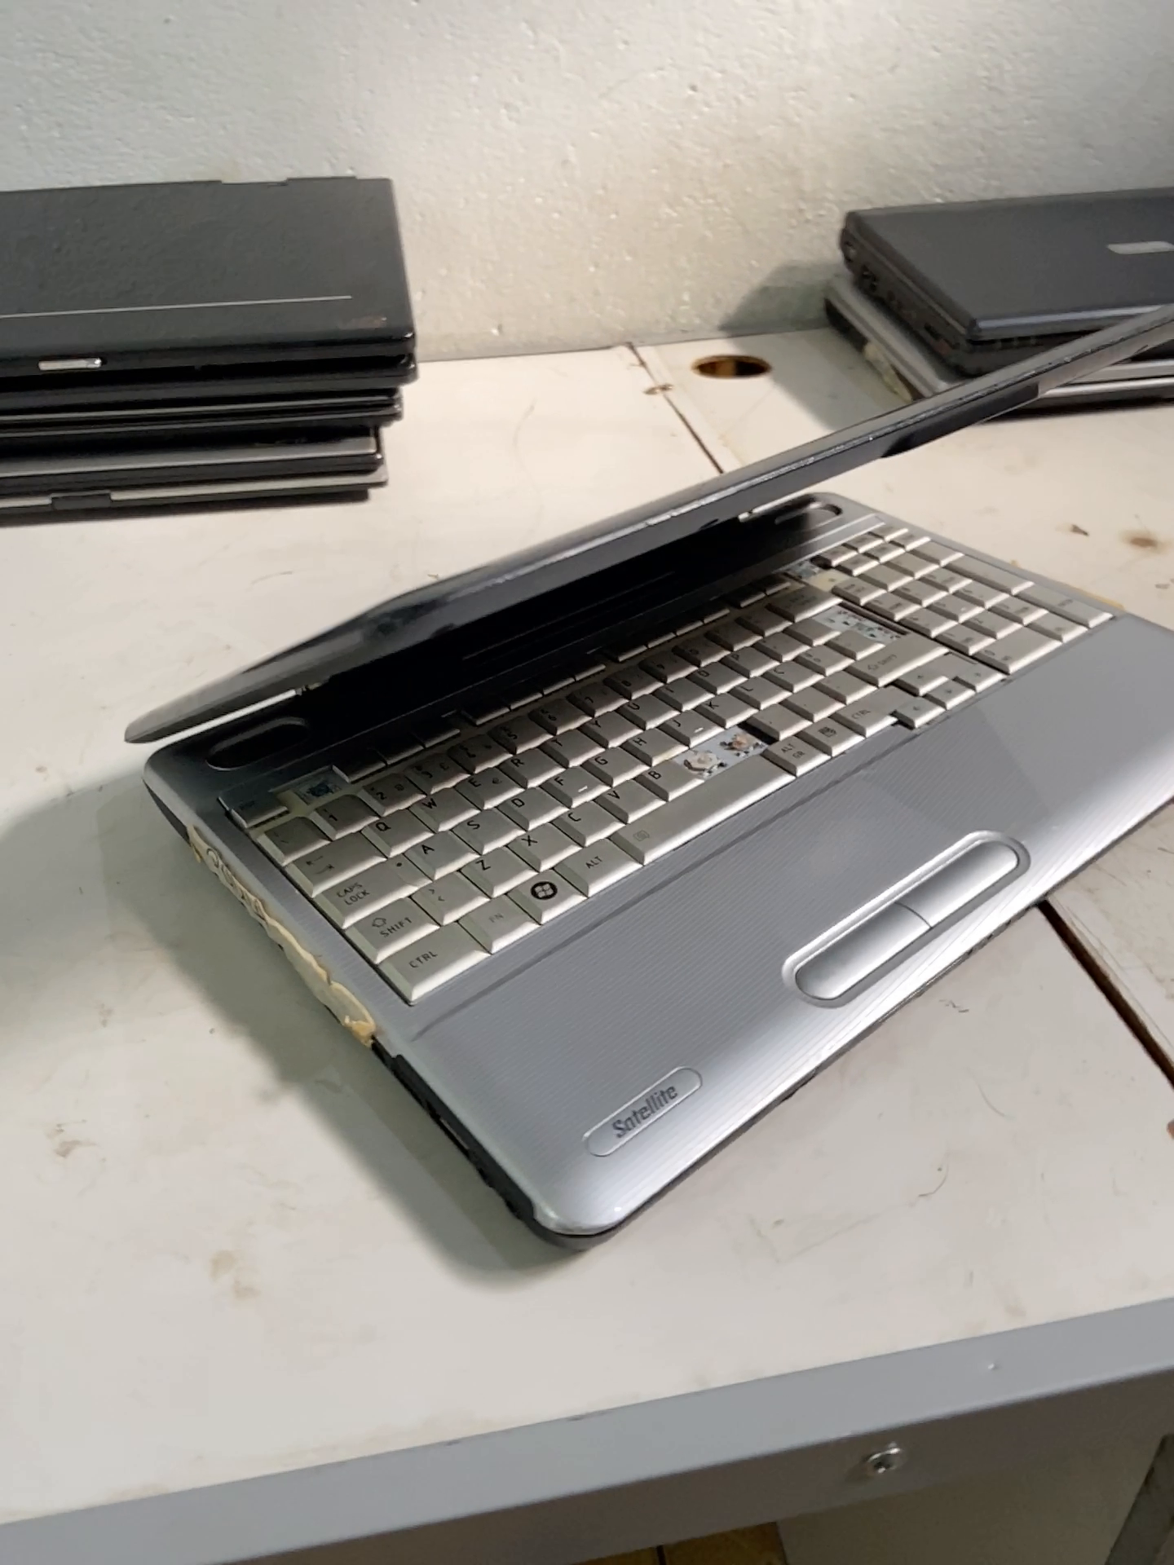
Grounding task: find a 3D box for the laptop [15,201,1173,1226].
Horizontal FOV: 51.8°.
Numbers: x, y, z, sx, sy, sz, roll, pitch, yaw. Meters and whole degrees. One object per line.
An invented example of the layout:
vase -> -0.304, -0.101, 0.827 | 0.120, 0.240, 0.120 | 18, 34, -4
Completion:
laptop -> 0.050, -0.082, 0.426 | 0.372, 0.143, 0.256 | -26, 44, -32
